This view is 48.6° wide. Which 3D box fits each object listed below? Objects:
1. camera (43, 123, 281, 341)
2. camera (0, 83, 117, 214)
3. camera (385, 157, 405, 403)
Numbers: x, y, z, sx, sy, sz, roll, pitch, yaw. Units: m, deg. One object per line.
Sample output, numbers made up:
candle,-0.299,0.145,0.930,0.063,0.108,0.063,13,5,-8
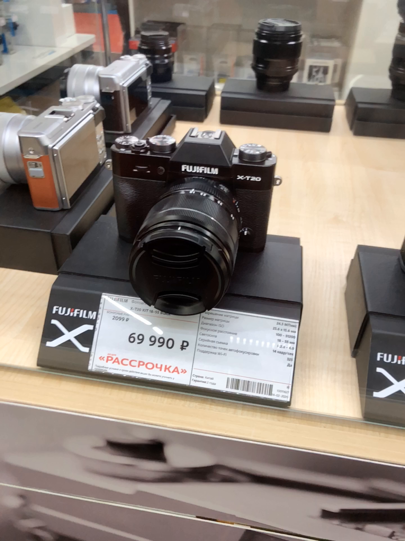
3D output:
camera,-0.016,-0.036,0.312,0.121,0.080,0.131,8,37,8
camera,-0.132,-0.110,0.389,0.074,0.063,0.122,7,37,6
camera,0.196,-0.004,0.271,0.130,0.071,0.125,7,37,6
